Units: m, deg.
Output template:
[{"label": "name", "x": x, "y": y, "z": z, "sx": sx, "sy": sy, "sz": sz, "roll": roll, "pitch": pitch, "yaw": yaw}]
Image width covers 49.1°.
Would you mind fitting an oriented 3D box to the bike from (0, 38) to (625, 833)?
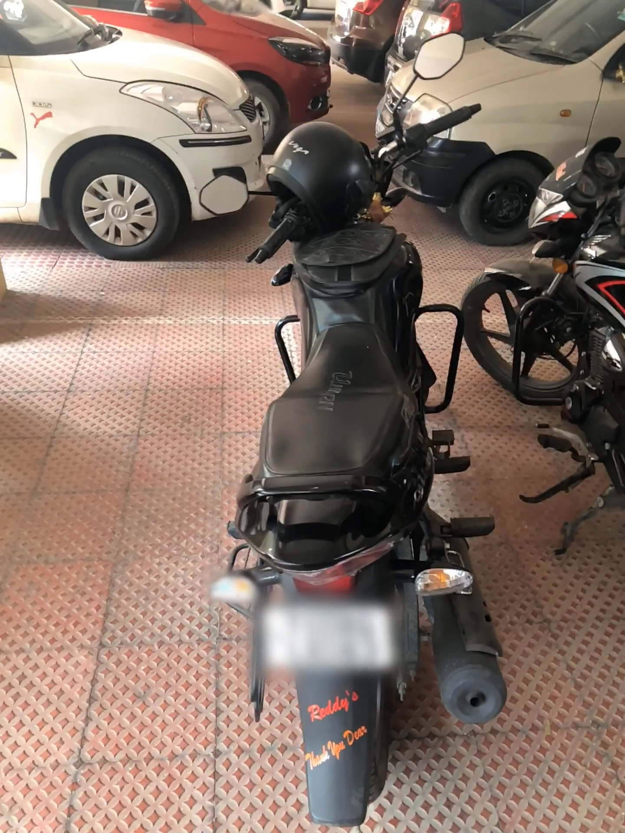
[{"label": "bike", "x": -0.061, "y": -0.123, "z": 1.747, "sx": 0.804, "sy": 1.200, "sz": 1.692, "roll": 2, "pitch": 36, "yaw": -2}]
